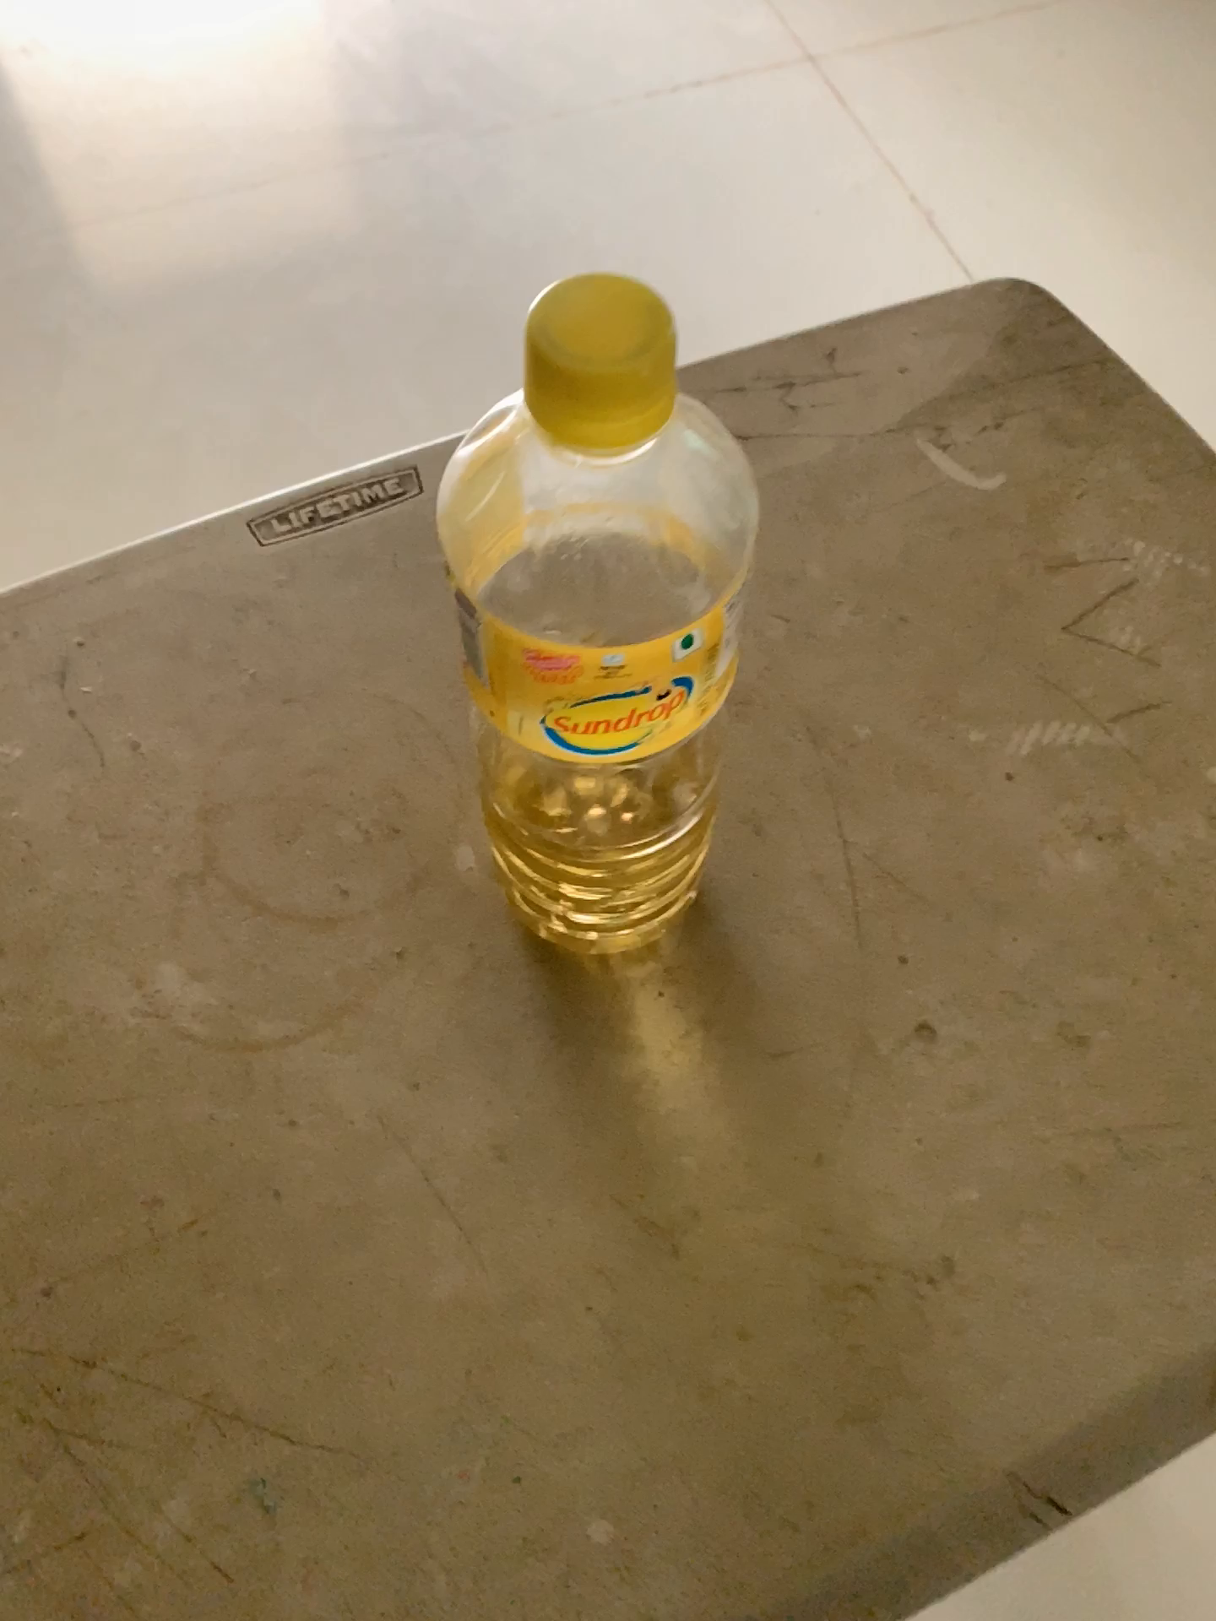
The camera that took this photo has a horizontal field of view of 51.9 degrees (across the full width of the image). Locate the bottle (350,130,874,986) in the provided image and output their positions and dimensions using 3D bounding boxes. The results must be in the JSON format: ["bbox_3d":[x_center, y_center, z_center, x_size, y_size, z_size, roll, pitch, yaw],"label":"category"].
[{"bbox_3d":[-0.004,-0.042,0.371,0.090,0.269,0.090,0,63,-1],"label":"bottle"}]
